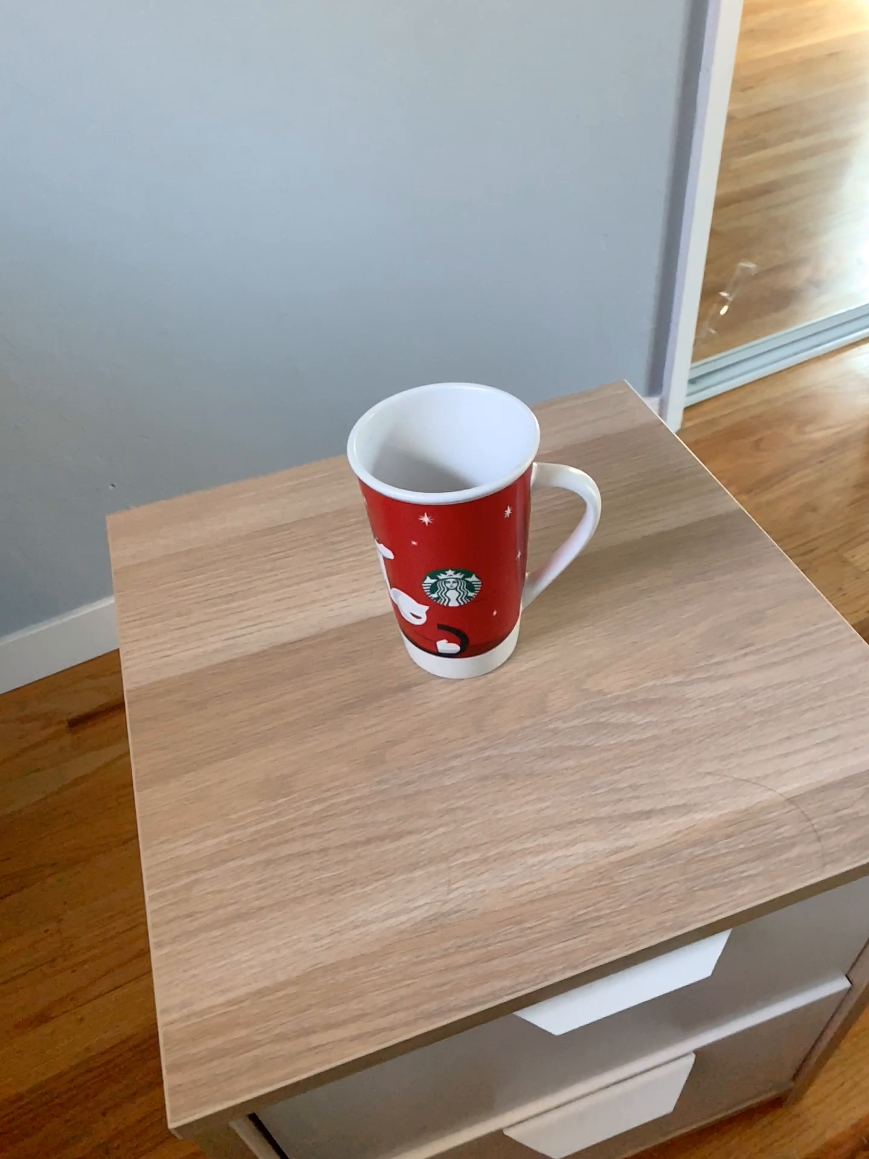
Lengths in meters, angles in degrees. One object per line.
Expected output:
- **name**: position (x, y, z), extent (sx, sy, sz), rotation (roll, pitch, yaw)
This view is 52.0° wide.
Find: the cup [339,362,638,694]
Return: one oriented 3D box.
- **cup**: position (0.028, -0.022, 0.468), extent (0.130, 0.149, 0.080), rotation (-4, 46, 3)
